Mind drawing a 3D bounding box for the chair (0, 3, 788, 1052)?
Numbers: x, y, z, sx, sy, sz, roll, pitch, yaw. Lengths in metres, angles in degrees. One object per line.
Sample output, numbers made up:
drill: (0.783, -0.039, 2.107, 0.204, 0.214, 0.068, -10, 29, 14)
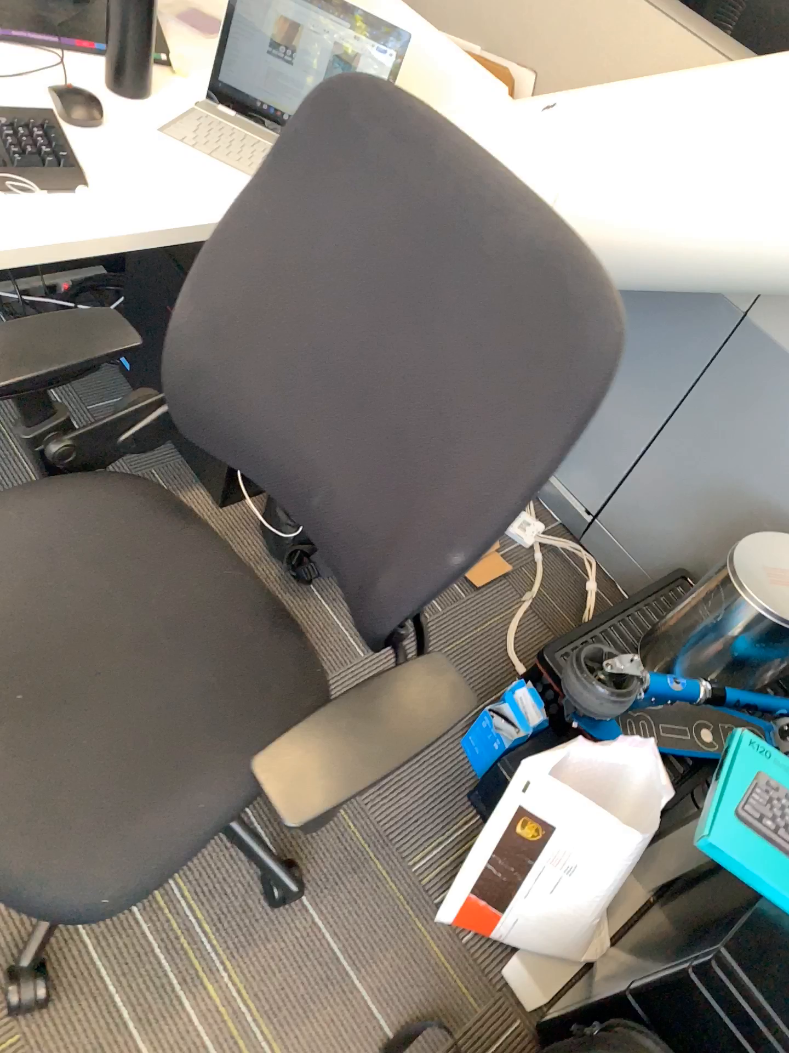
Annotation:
chair: (-0.271, 0.181, 1.101, 0.632, 1.364, 0.581, -23, 64, -35)
